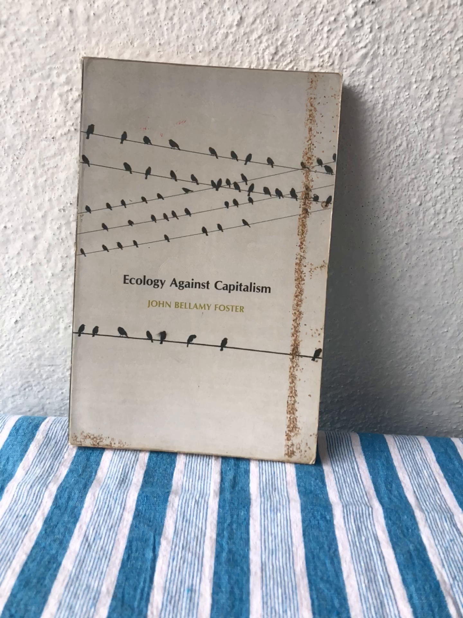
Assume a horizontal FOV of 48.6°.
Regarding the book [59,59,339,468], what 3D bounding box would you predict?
[{"bbox_3d":[-0.018,-0.026,0.287,0.140,0.210,0.030,3,1,4],"label":"book"}]
